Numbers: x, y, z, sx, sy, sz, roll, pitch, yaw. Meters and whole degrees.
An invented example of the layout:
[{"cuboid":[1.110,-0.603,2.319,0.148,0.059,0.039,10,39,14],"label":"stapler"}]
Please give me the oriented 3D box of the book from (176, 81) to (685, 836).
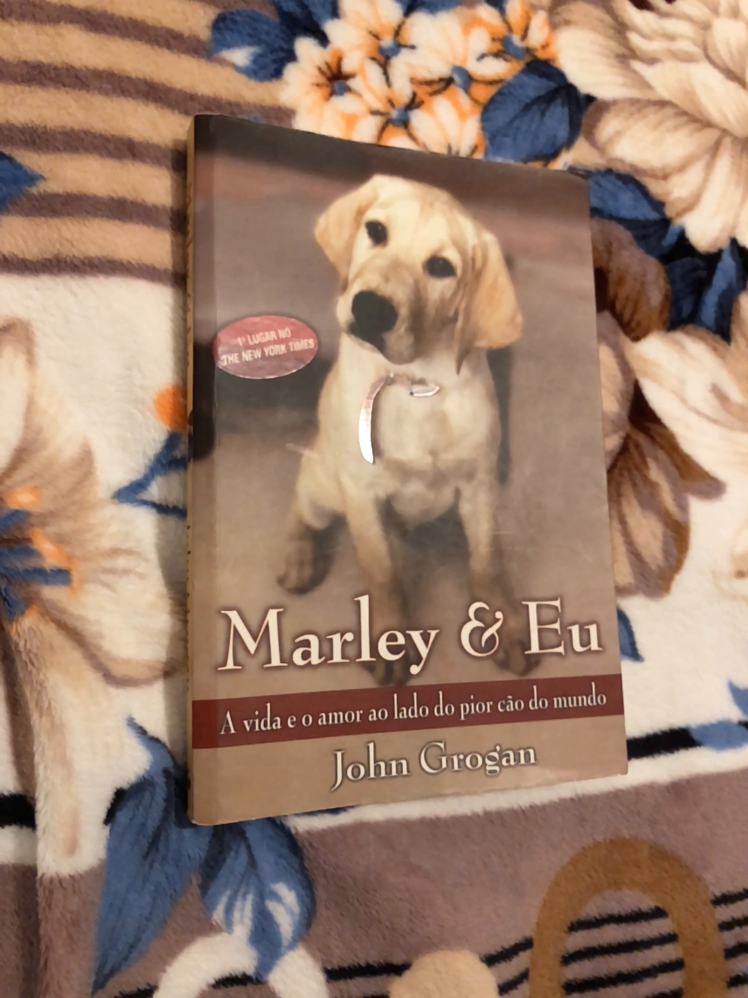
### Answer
[{"cuboid":[0.019,-0.016,0.298,0.170,0.040,0.230,0,82,-20],"label":"book"}]
